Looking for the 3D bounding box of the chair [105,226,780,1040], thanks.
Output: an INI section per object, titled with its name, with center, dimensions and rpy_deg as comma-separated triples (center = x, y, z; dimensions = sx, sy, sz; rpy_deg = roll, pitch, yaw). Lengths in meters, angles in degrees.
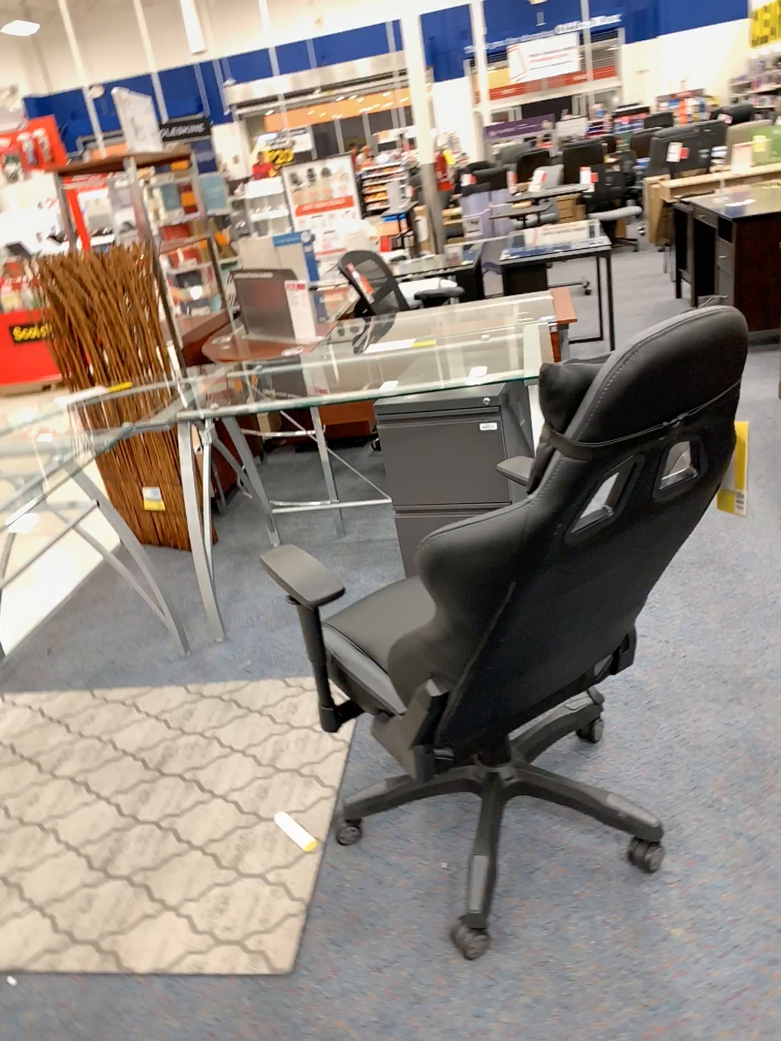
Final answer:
[chair]
center = 0.149, 0.115, 1.425
dimensions = 0.786, 1.062, 0.915
rpy_deg = -23, 27, -26
